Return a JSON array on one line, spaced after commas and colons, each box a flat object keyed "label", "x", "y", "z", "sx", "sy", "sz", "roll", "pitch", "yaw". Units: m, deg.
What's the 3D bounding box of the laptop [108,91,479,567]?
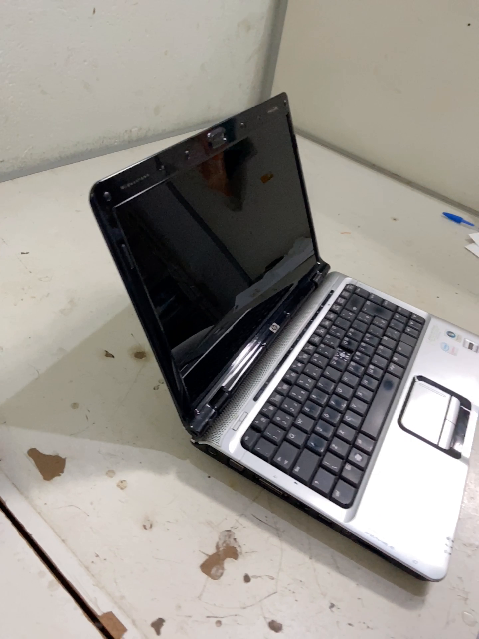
[{"label": "laptop", "x": 0.115, "y": -0.037, "z": 0.477, "sx": 0.334, "sy": 0.193, "sz": 0.323, "roll": 27, "pitch": 43, "yaw": 16}]
